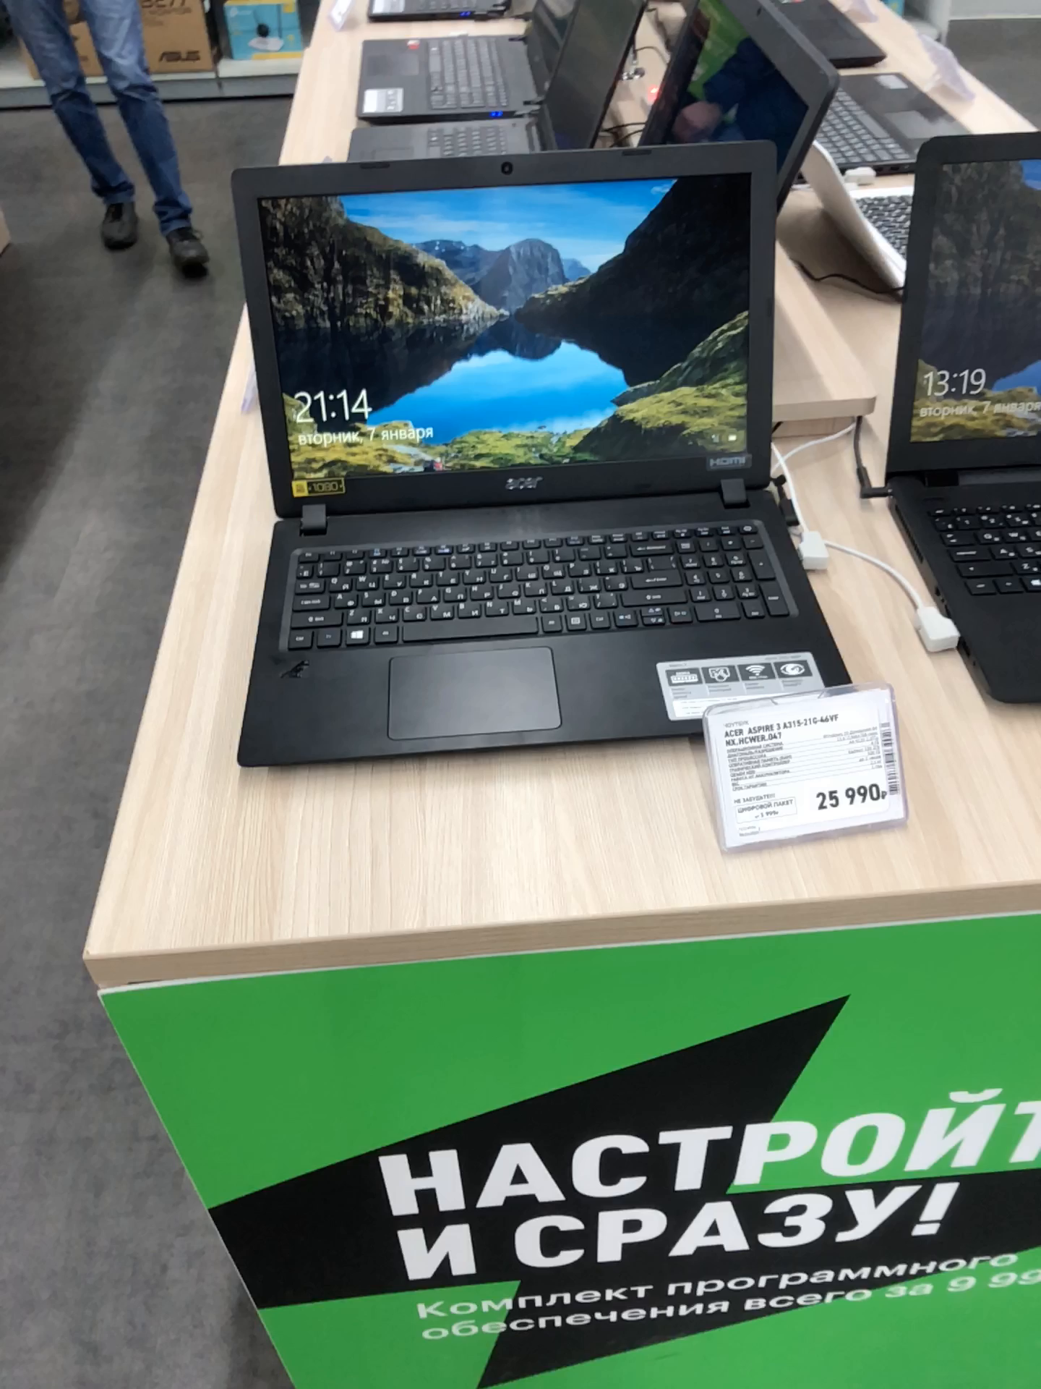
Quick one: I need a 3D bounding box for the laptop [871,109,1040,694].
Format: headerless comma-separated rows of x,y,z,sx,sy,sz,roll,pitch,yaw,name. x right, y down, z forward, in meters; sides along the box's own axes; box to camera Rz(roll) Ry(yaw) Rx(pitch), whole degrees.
0.475,-0.196,0.741,0.358,0.220,0.296,-4,45,-1,laptop

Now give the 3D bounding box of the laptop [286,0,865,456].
0.023,-0.447,1.008,0.395,0.250,0.403,-6,43,0,laptop

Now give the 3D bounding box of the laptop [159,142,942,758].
0.007,-0.174,0.746,0.374,0.219,0.349,-4,43,-1,laptop
